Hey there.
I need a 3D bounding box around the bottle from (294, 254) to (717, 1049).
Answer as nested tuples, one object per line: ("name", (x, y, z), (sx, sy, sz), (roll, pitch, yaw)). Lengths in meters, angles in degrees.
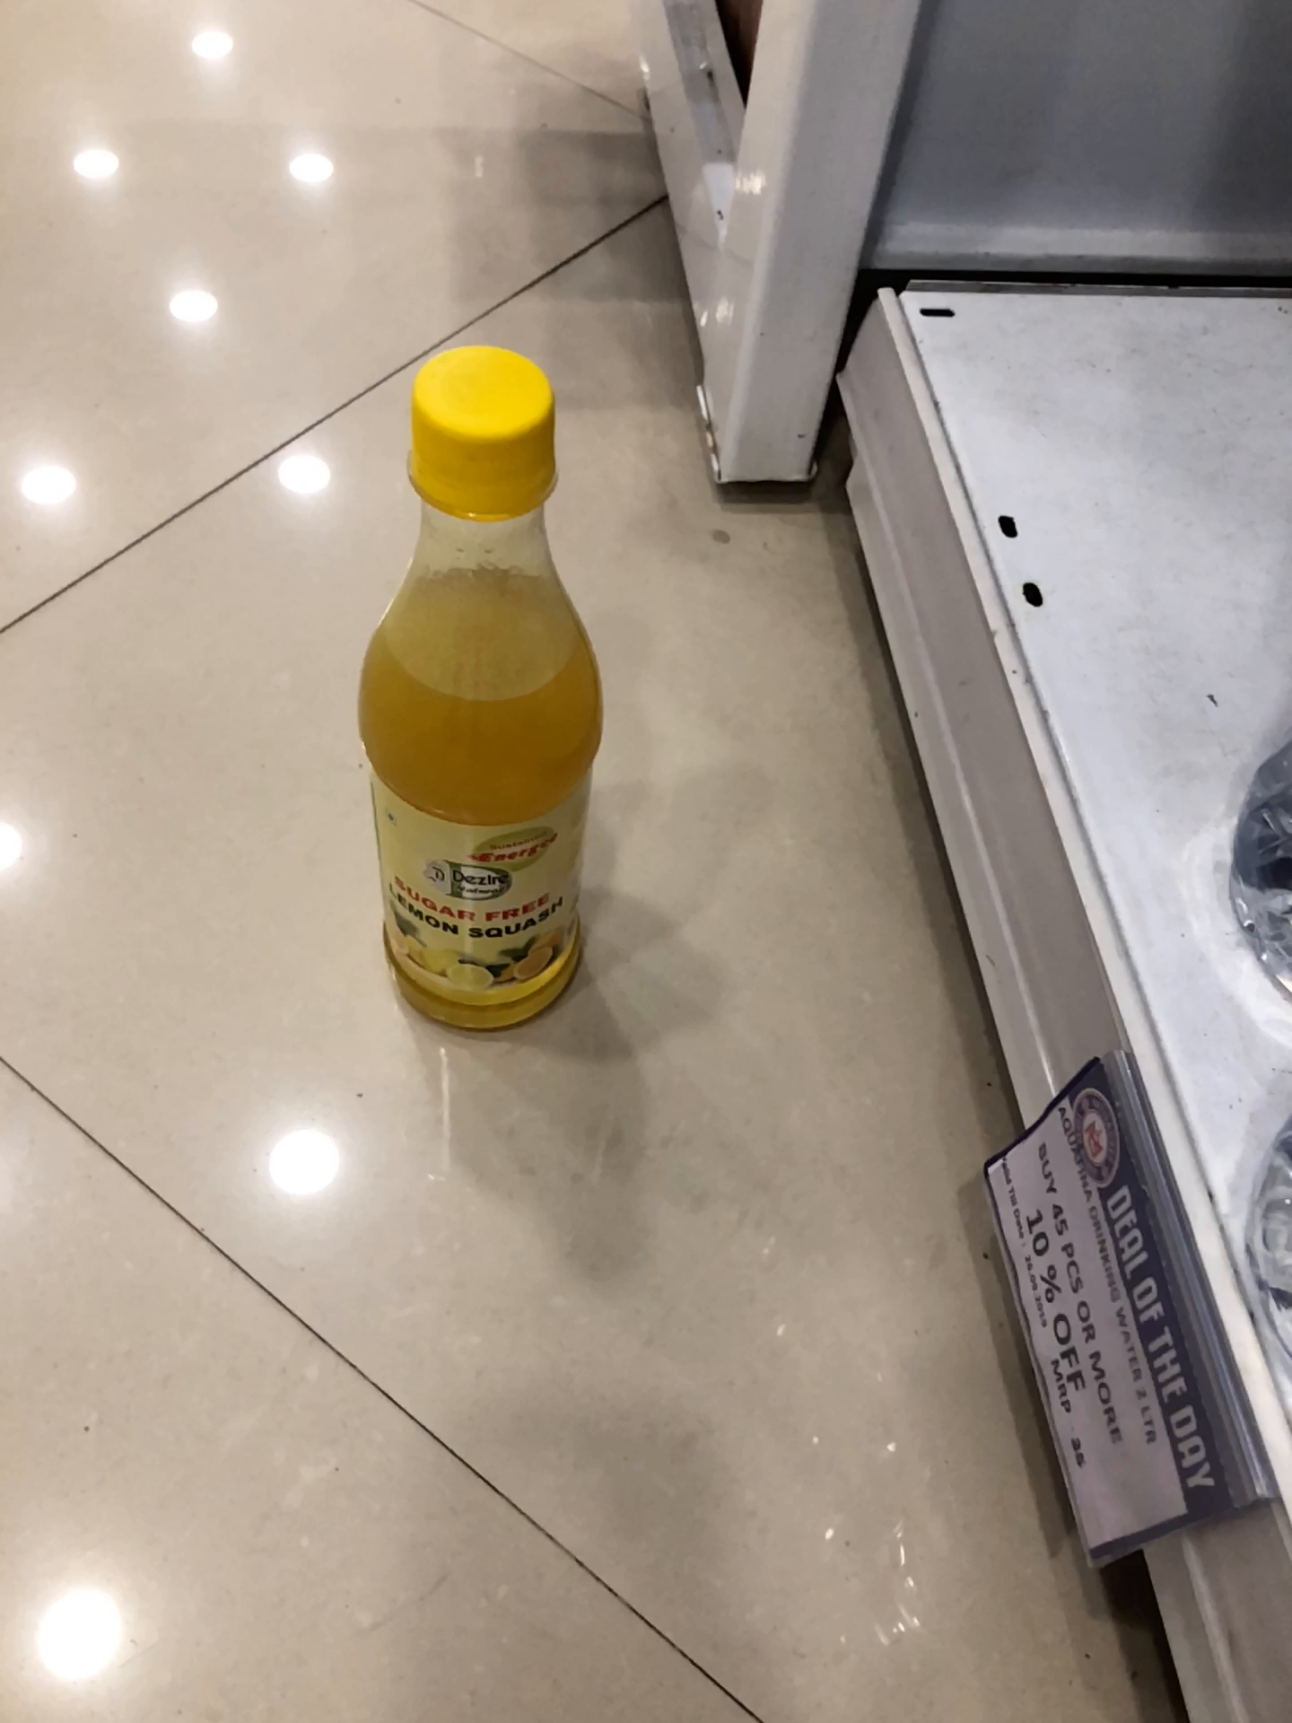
("bottle", (-0.037, -0.037, 0.391), (0.080, 0.229, 0.070), (6, 55, -3))
